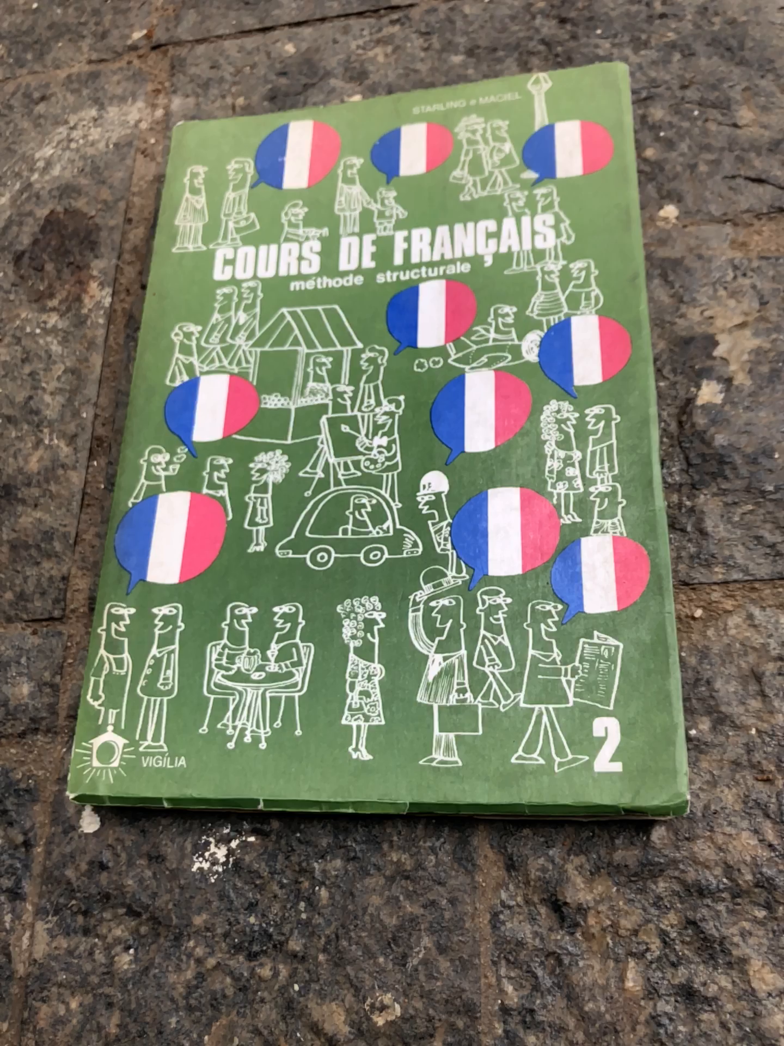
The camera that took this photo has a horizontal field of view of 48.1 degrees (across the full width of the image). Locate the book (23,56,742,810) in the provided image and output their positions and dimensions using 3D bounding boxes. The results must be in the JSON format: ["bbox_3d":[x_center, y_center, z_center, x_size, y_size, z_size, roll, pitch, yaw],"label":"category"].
[{"bbox_3d":[-0.005,-0.033,0.244,0.167,0.013,0.211,-3,68,12],"label":"book"}]
